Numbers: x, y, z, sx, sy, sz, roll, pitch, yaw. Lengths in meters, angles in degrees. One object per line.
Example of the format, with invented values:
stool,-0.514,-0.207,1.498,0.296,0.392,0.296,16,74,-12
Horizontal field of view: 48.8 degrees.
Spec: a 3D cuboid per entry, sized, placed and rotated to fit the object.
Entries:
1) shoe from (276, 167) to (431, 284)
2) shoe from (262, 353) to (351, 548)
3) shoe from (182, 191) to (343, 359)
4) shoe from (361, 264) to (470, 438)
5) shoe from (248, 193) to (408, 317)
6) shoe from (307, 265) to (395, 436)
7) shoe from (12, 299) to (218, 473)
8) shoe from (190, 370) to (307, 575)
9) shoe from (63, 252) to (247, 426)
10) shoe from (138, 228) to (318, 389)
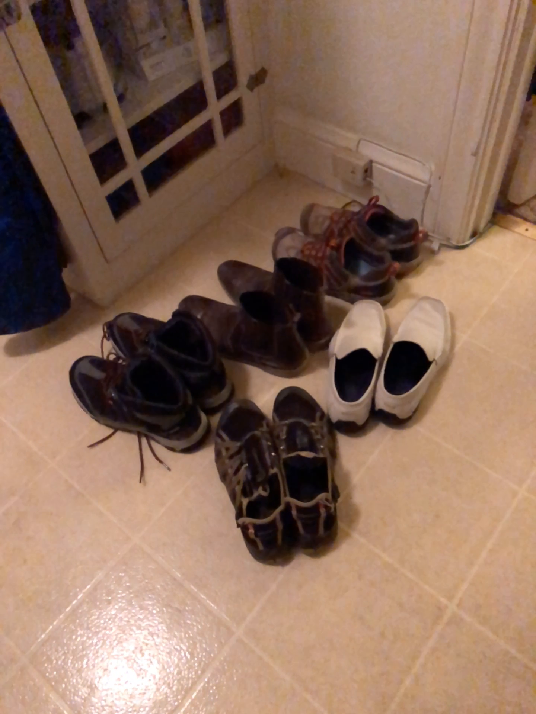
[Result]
shoe,0.182,-0.294,1.298,0.314,0.113,0.110,28,62,24
shoe,0.061,0.152,1.001,0.110,0.123,0.294,-7,53,2
shoe,-0.009,-0.170,1.205,0.324,0.192,0.110,36,65,28
shoe,0.278,-0.018,1.105,0.110,0.113,0.304,17,57,18
shoe,0.122,-0.220,1.244,0.314,0.113,0.110,28,62,24
shoe,0.162,-0.020,1.117,0.110,0.113,0.304,9,55,13
shoe,-0.268,0.051,1.062,0.323,0.192,0.110,24,60,22
shoe,-0.035,0.185,0.984,0.110,0.123,0.294,-16,54,-5
shoe,-0.210,-0.037,1.129,0.324,0.192,0.110,30,62,25
shoe,-0.072,-0.096,1.160,0.324,0.192,0.110,25,60,23
